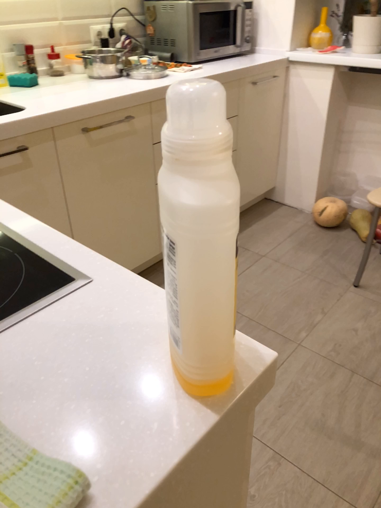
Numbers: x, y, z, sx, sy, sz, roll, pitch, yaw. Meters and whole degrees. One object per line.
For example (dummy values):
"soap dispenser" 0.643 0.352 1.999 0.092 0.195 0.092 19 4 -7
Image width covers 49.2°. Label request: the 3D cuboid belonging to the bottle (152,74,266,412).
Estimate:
"bottle" 0.011 0.000 0.351 0.061 0.264 0.102 -5 31 -5
